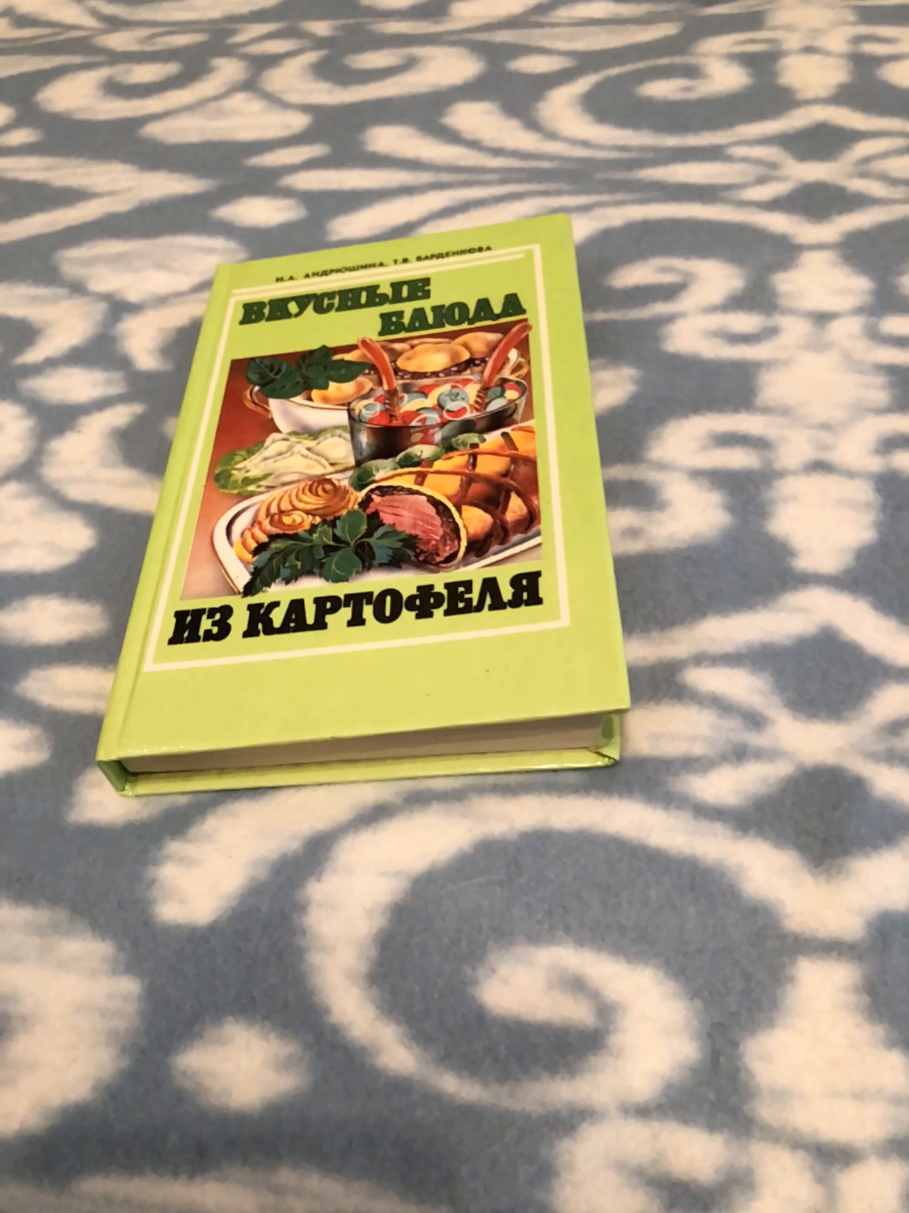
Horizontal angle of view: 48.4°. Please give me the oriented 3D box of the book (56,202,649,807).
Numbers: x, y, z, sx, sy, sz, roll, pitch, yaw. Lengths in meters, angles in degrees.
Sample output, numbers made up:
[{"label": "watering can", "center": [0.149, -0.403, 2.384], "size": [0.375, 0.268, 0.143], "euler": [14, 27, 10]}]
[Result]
[{"label": "book", "center": [-0.023, -0.043, 0.298], "size": [0.135, 0.025, 0.202], "euler": [-6, 51, 8]}]
